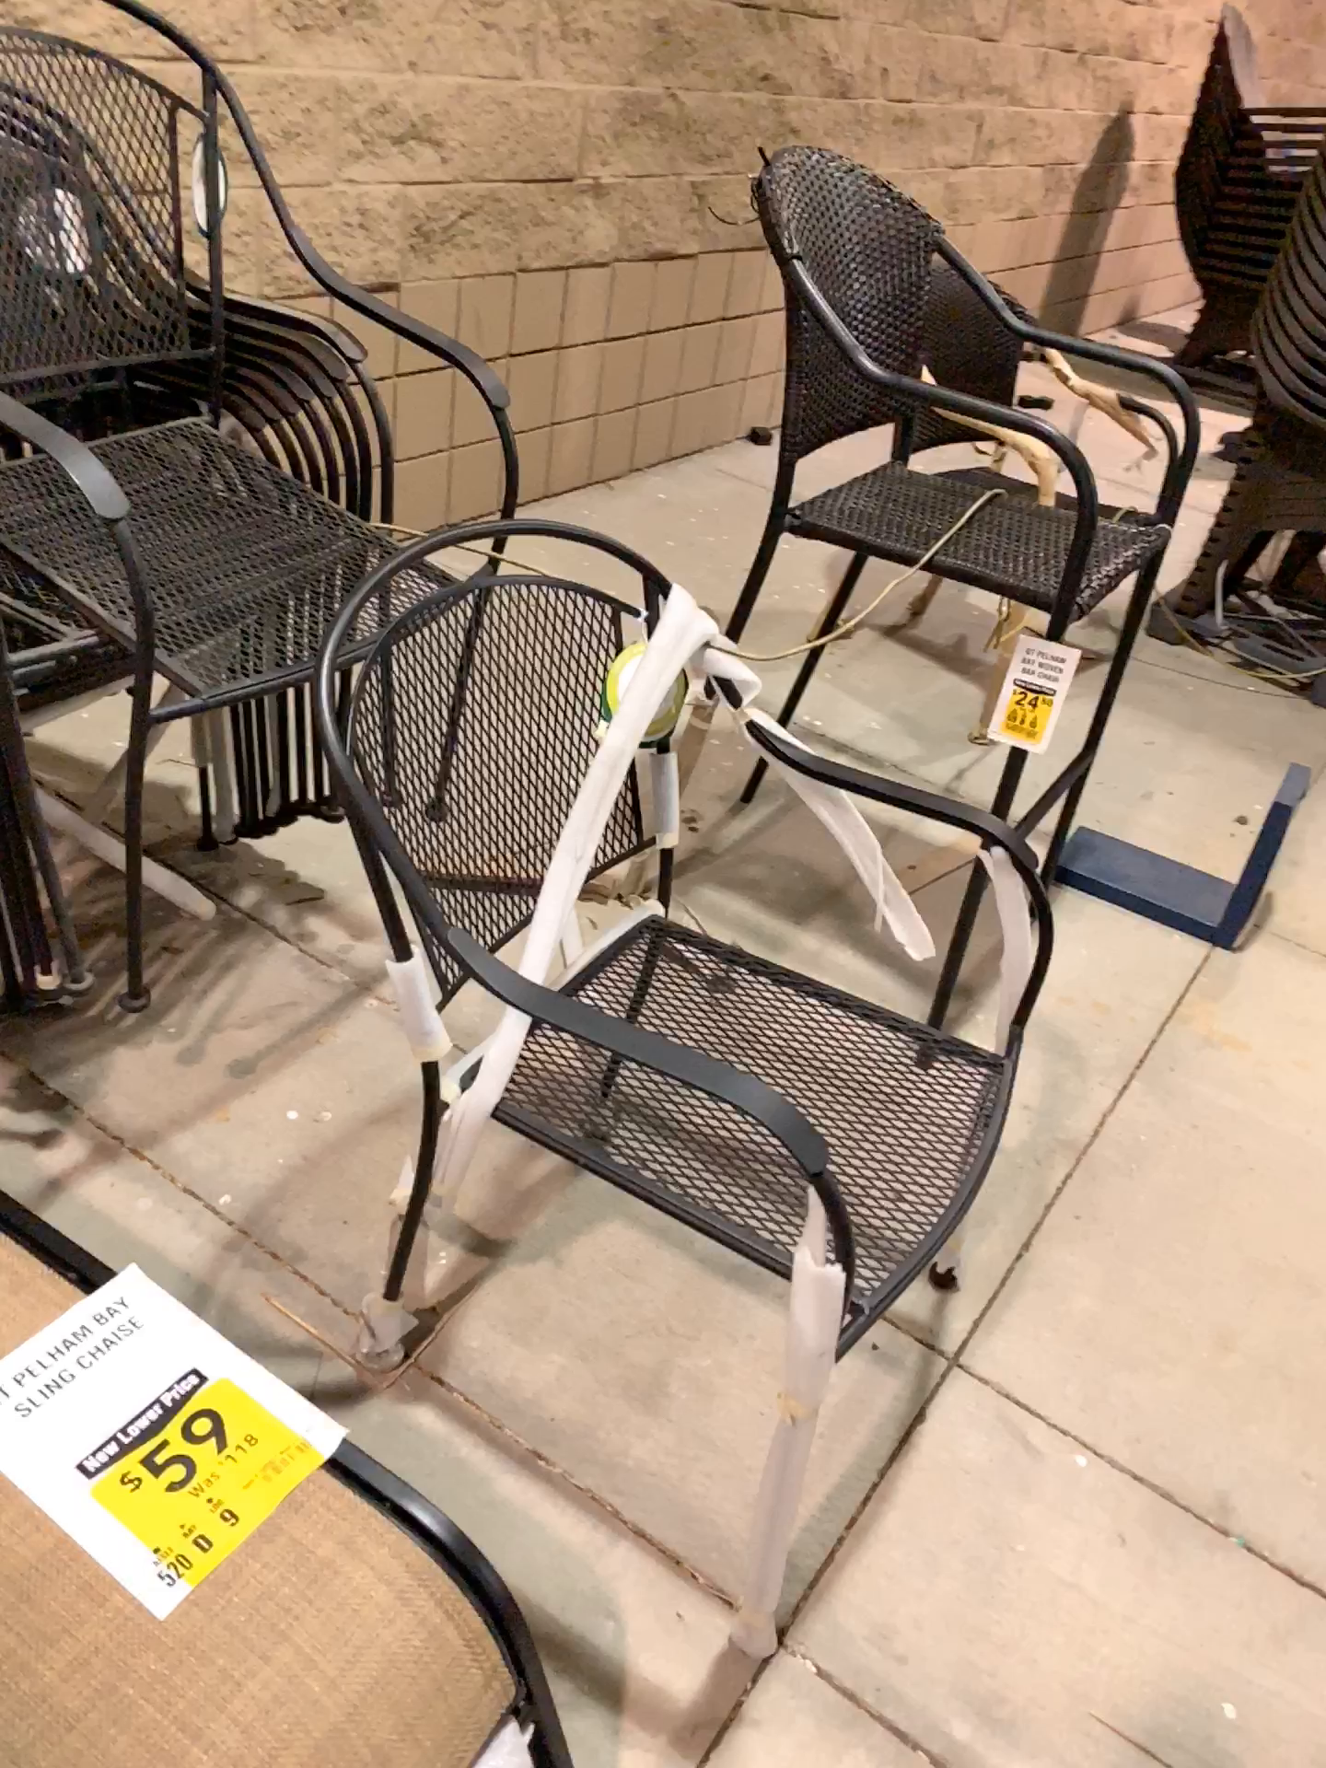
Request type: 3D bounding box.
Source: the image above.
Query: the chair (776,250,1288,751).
[{"bbox_3d":[0.758,-0.858,2.908,0.646,0.820,0.629,-22,43,-38],"label":"chair"}]

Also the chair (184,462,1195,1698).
[{"bbox_3d":[0.009,0.151,1.338,0.638,0.869,0.577,22,36,20],"label":"chair"}]

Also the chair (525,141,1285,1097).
[{"bbox_3d":[0.305,-0.425,2.031,0.709,1.128,0.637,25,36,24],"label":"chair"}]
